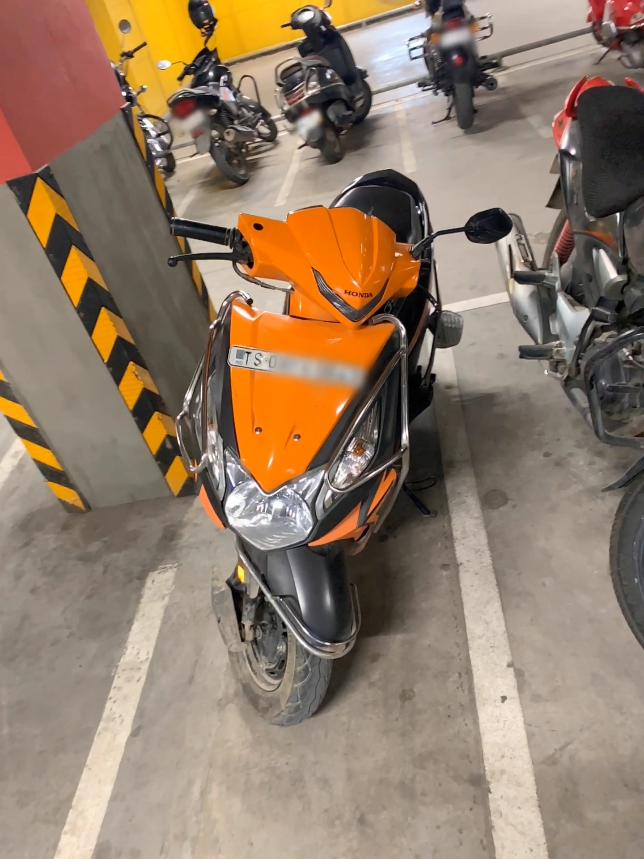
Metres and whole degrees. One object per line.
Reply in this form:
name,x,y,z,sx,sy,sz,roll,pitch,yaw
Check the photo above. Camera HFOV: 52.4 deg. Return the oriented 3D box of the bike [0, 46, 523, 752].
bike,0.136,-0.187,1.841,0.725,1.172,1.611,-5,36,19
